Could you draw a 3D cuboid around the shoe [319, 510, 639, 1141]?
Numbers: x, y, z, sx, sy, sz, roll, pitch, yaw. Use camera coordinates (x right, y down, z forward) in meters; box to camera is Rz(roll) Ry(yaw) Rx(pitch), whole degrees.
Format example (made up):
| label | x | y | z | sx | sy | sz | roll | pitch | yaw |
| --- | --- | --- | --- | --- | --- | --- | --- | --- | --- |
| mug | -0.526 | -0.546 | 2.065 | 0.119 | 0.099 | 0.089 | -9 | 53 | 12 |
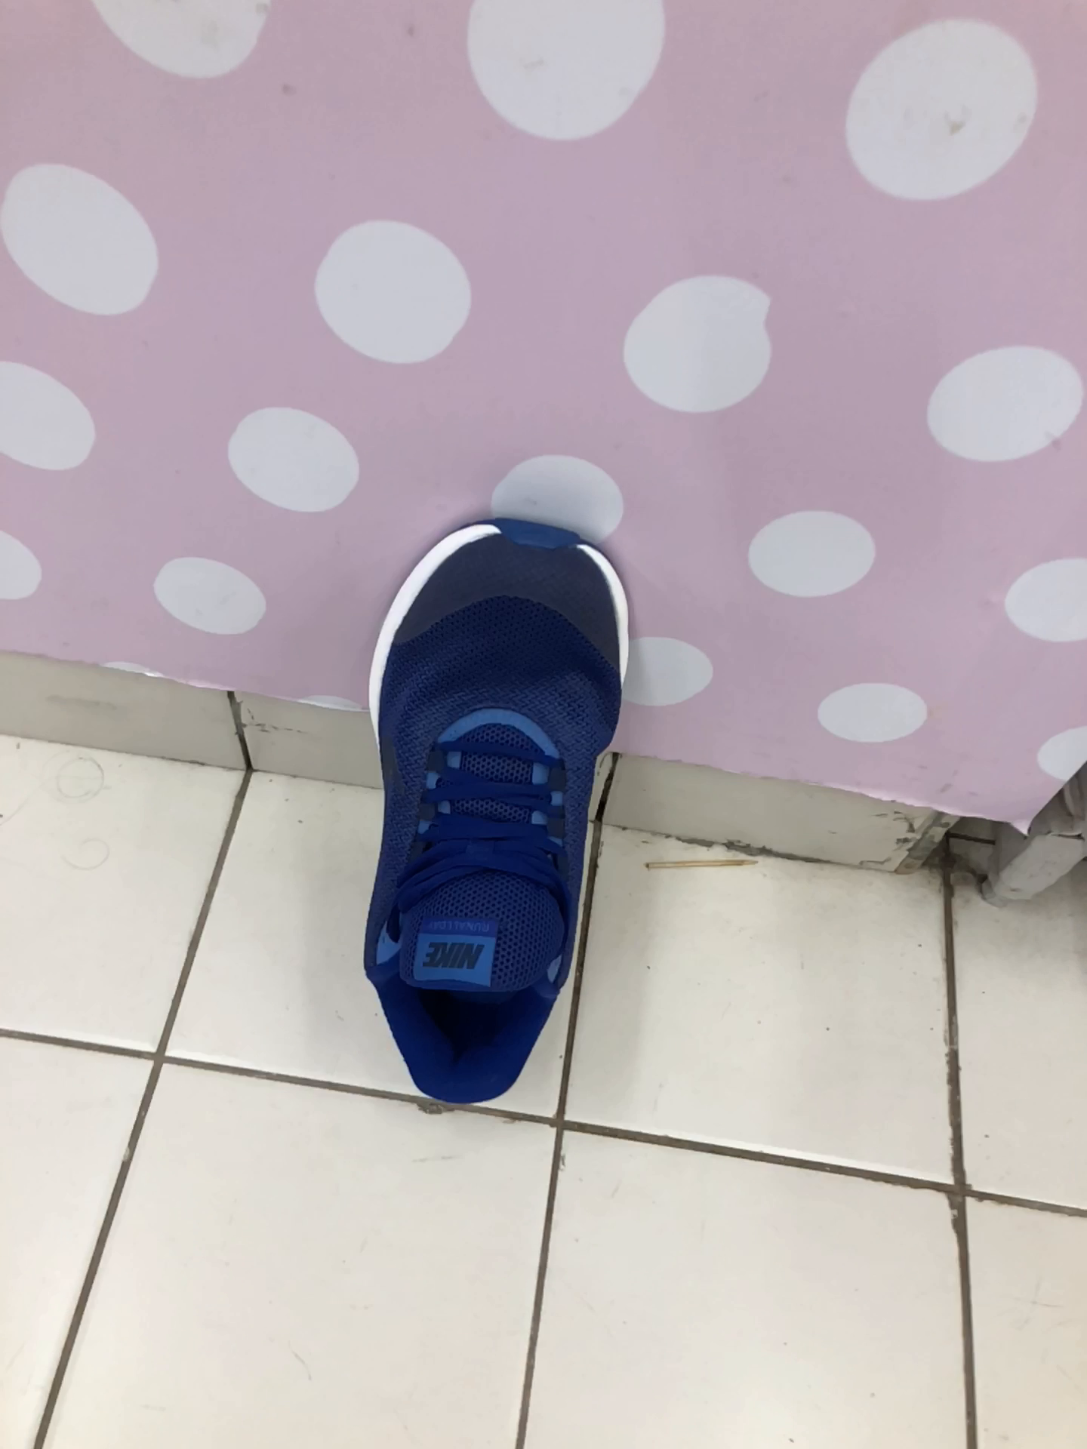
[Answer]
| label | x | y | z | sx | sy | sz | roll | pitch | yaw |
| --- | --- | --- | --- | --- | --- | --- | --- | --- | --- |
| shoe | -0.029 | 0.038 | 0.519 | 0.100 | 0.239 | 0.110 | 6 | 15 | -2 |
